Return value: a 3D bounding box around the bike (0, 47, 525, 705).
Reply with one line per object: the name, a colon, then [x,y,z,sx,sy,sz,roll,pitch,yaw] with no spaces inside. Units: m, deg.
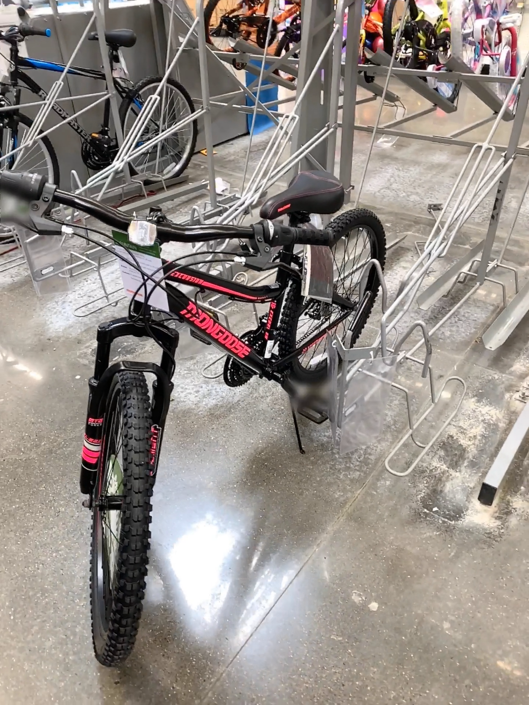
bike: [0.111,-0.096,1.291,0.639,0.963,1.408,16,39,23]
